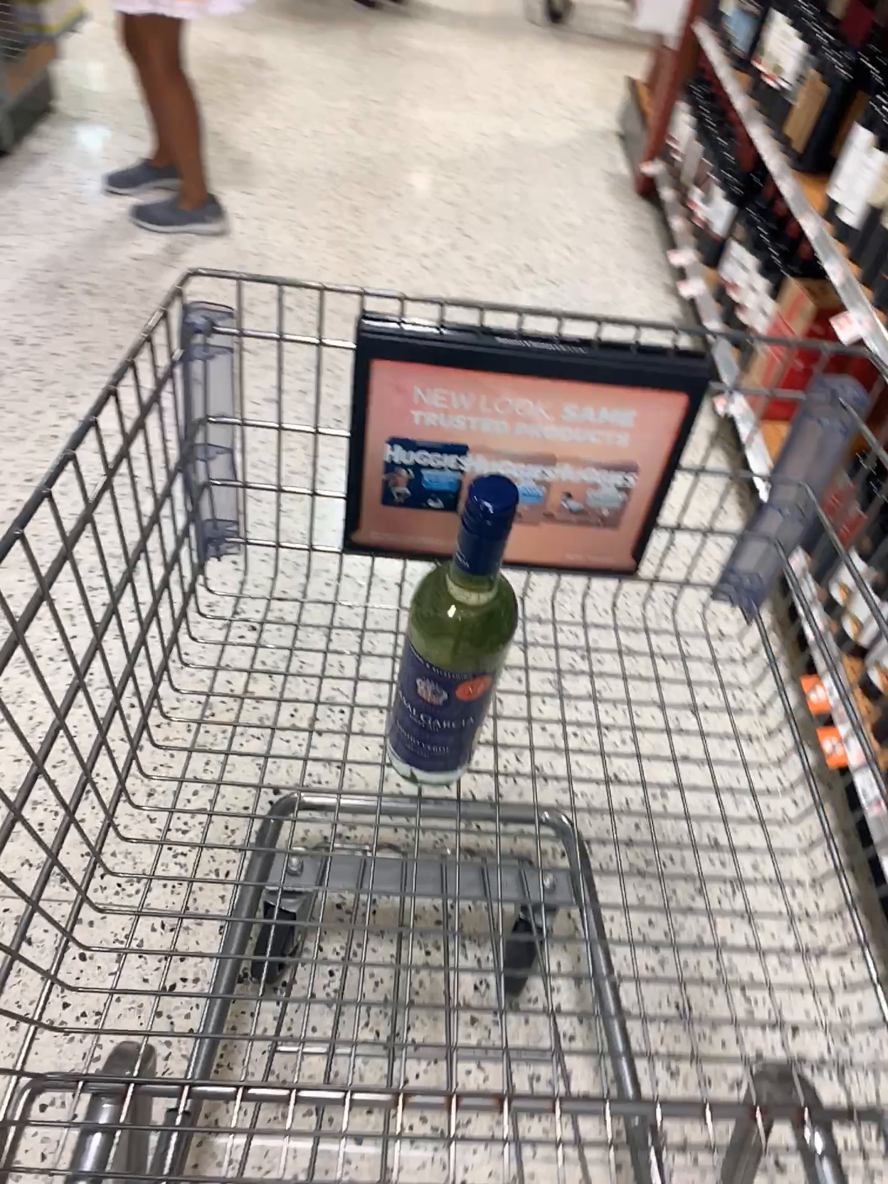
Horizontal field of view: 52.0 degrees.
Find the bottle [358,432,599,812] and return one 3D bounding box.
[{"bbox_3d":[0.014,0.035,0.636,0.090,0.277,0.081,22,47,6],"label":"bottle"}]
